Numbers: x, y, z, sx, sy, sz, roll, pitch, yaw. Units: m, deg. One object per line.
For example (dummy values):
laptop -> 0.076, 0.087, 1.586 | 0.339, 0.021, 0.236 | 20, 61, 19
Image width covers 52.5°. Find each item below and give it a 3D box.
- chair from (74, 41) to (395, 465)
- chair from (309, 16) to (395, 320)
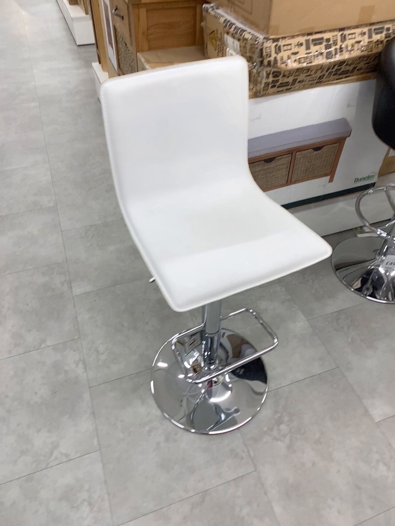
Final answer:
chair -> 0.056, 0.047, 1.066 | 0.460, 0.989, 0.445 | -18, 48, -18
chair -> 0.827, -0.304, 1.467 | 0.469, 0.910, 0.445 | -16, 48, -16
